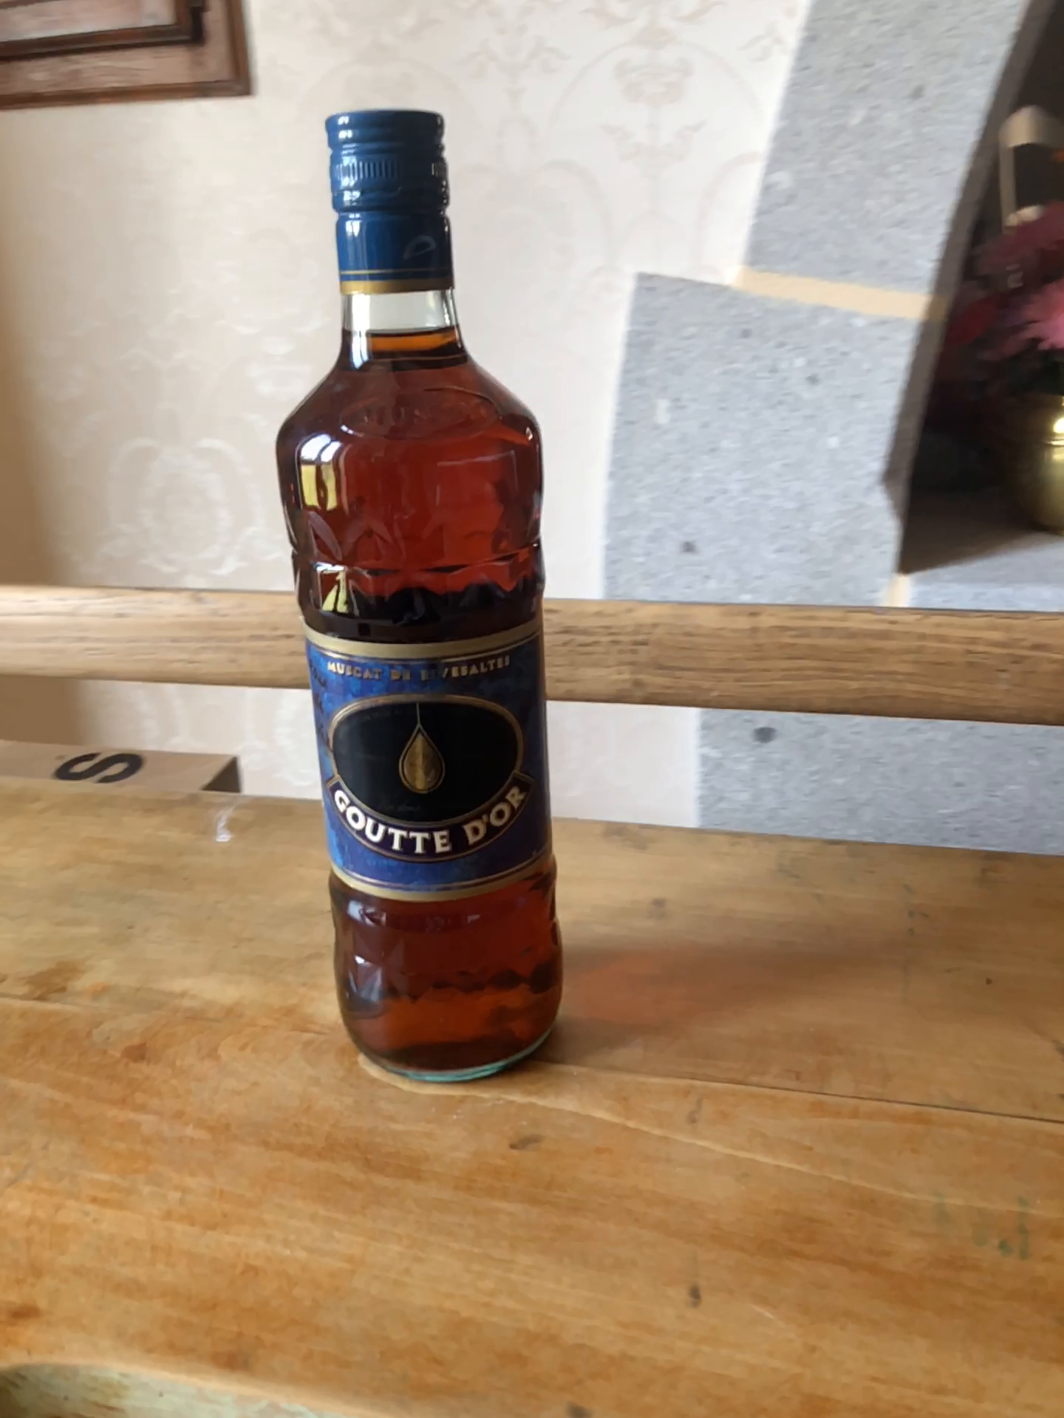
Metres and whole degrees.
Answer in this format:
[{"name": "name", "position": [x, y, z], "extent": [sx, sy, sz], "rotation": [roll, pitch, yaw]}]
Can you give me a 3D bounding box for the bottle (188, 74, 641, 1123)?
[{"name": "bottle", "position": [-0.019, -0.027, 0.356], "extent": [0.090, 0.279, 0.101], "rotation": [2, 21, 12]}]
